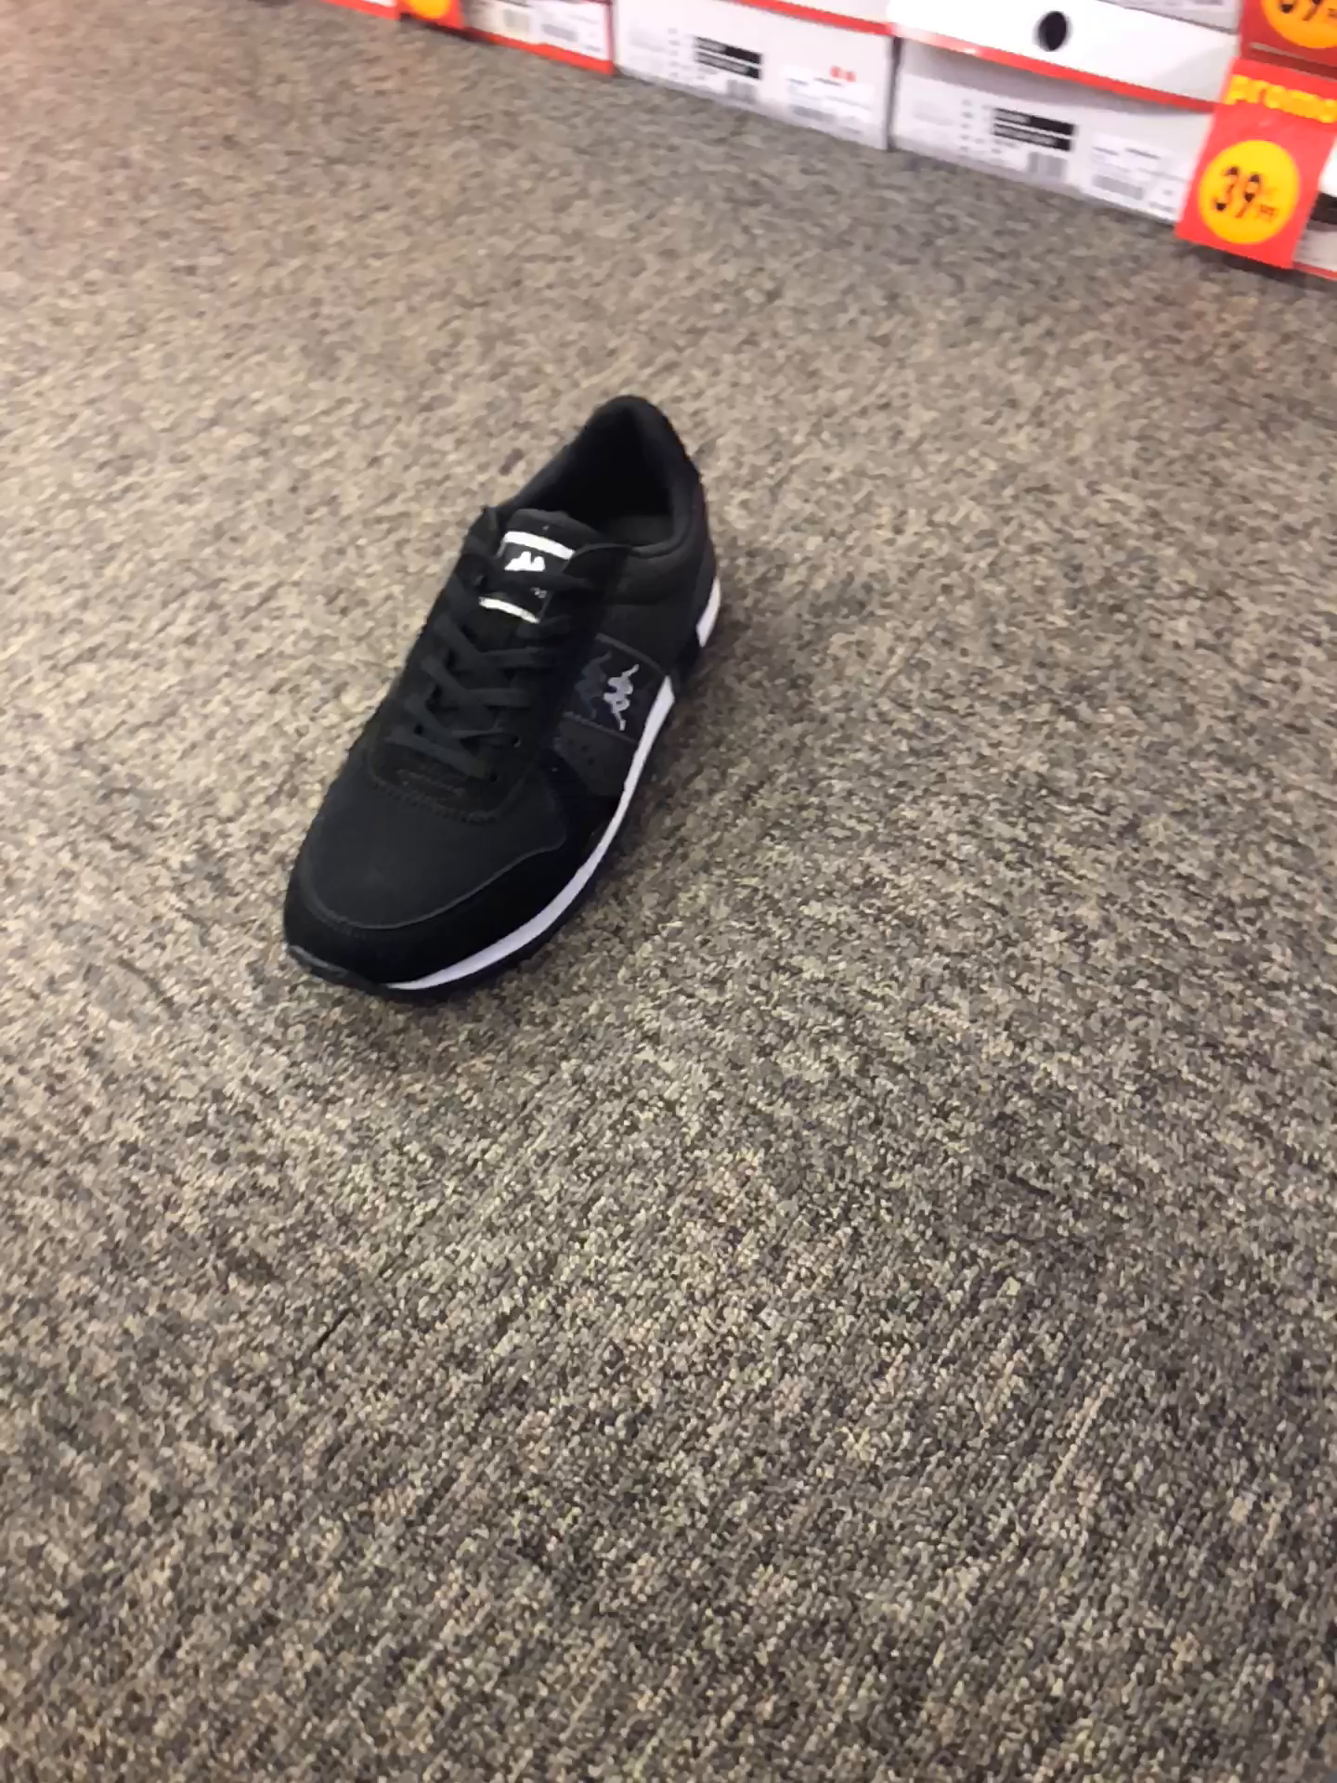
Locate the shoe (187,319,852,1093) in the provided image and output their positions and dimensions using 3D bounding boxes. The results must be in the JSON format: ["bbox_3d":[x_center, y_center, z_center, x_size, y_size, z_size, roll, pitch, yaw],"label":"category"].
[{"bbox_3d":[-0.035,-0.079,0.530,0.100,0.090,0.275,20,59,18],"label":"shoe"}]
